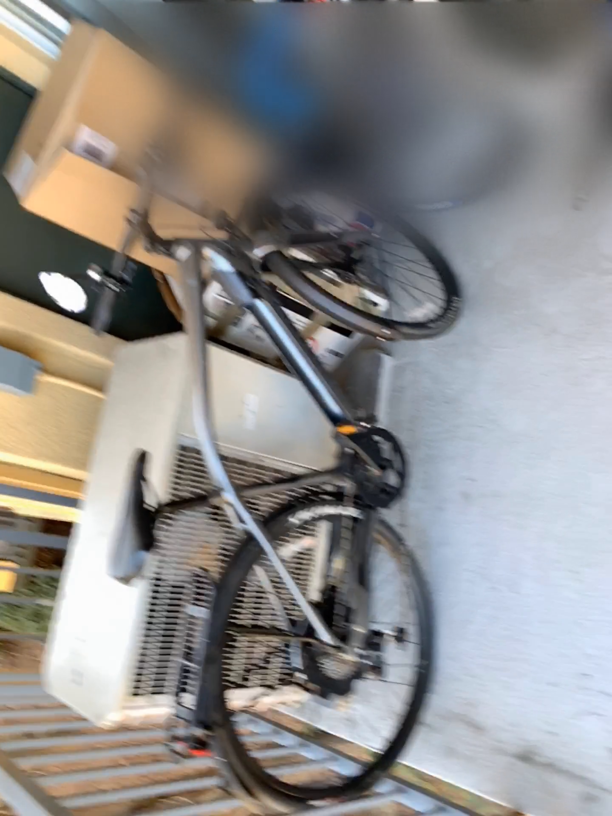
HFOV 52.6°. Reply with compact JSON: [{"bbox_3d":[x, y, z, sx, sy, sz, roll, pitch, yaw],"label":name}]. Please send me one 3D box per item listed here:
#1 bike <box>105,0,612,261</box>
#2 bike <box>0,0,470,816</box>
[{"bbox_3d":[0.482,-0.732,1.214,1.515,0.929,0.362,4,77,42],"label":"bike"},{"bbox_3d":[-0.155,0.045,1.539,0.627,0.968,1.583,-16,62,41],"label":"bike"}]
